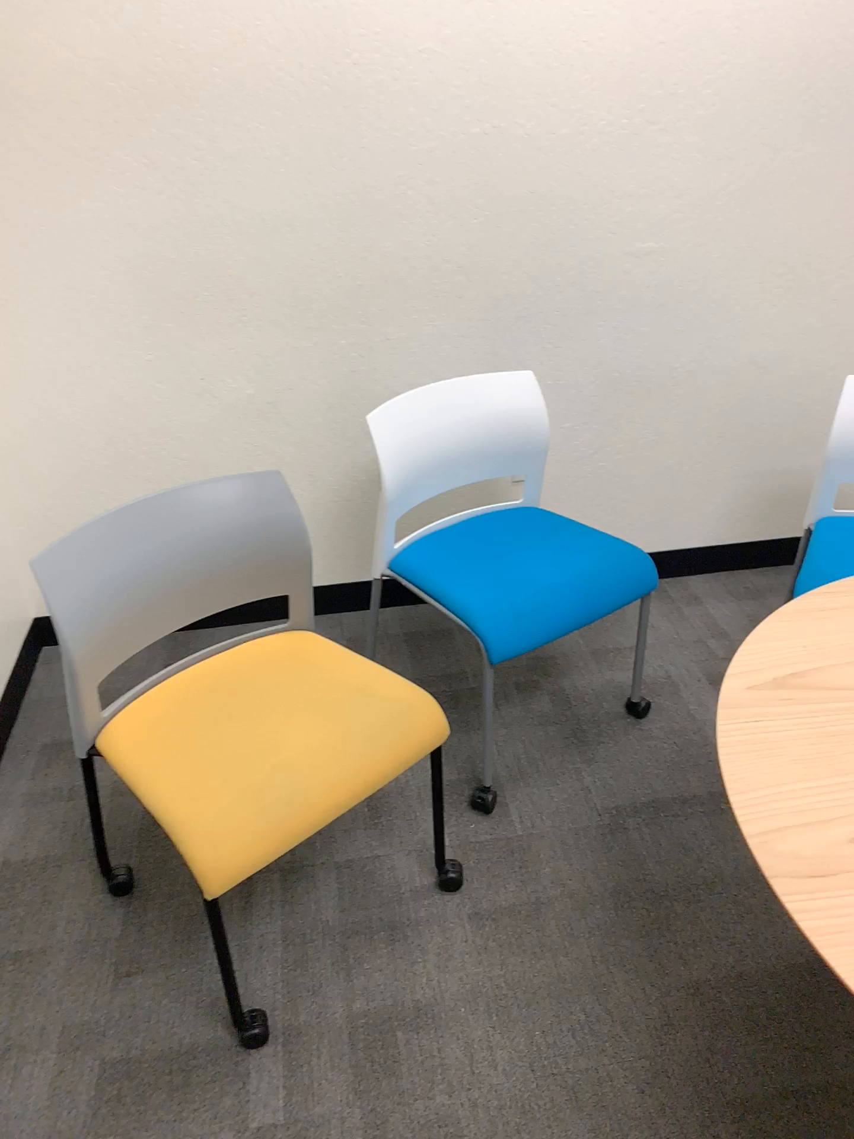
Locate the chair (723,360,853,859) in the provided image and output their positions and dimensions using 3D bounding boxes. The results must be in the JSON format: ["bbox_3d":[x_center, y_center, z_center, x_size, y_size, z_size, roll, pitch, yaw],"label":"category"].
[{"bbox_3d":[1.173,0.031,2.012,0.752,0.765,0.693,11,33,21],"label":"chair"}]

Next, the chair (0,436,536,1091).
[{"bbox_3d":[-0.287,0.273,1.603,0.641,0.716,0.694,-26,38,-35],"label":"chair"}]

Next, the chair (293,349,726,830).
[{"bbox_3d":[0.165,-0.009,2.075,0.640,0.755,0.694,-20,35,-28],"label":"chair"}]
